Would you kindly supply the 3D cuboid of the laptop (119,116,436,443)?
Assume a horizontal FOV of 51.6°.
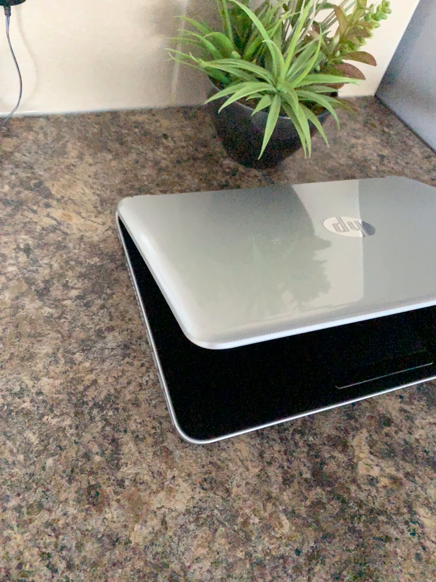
[{"bbox_3d":[0.105,-0.038,0.365,0.329,0.081,0.207,-10,57,-21],"label":"laptop"}]
